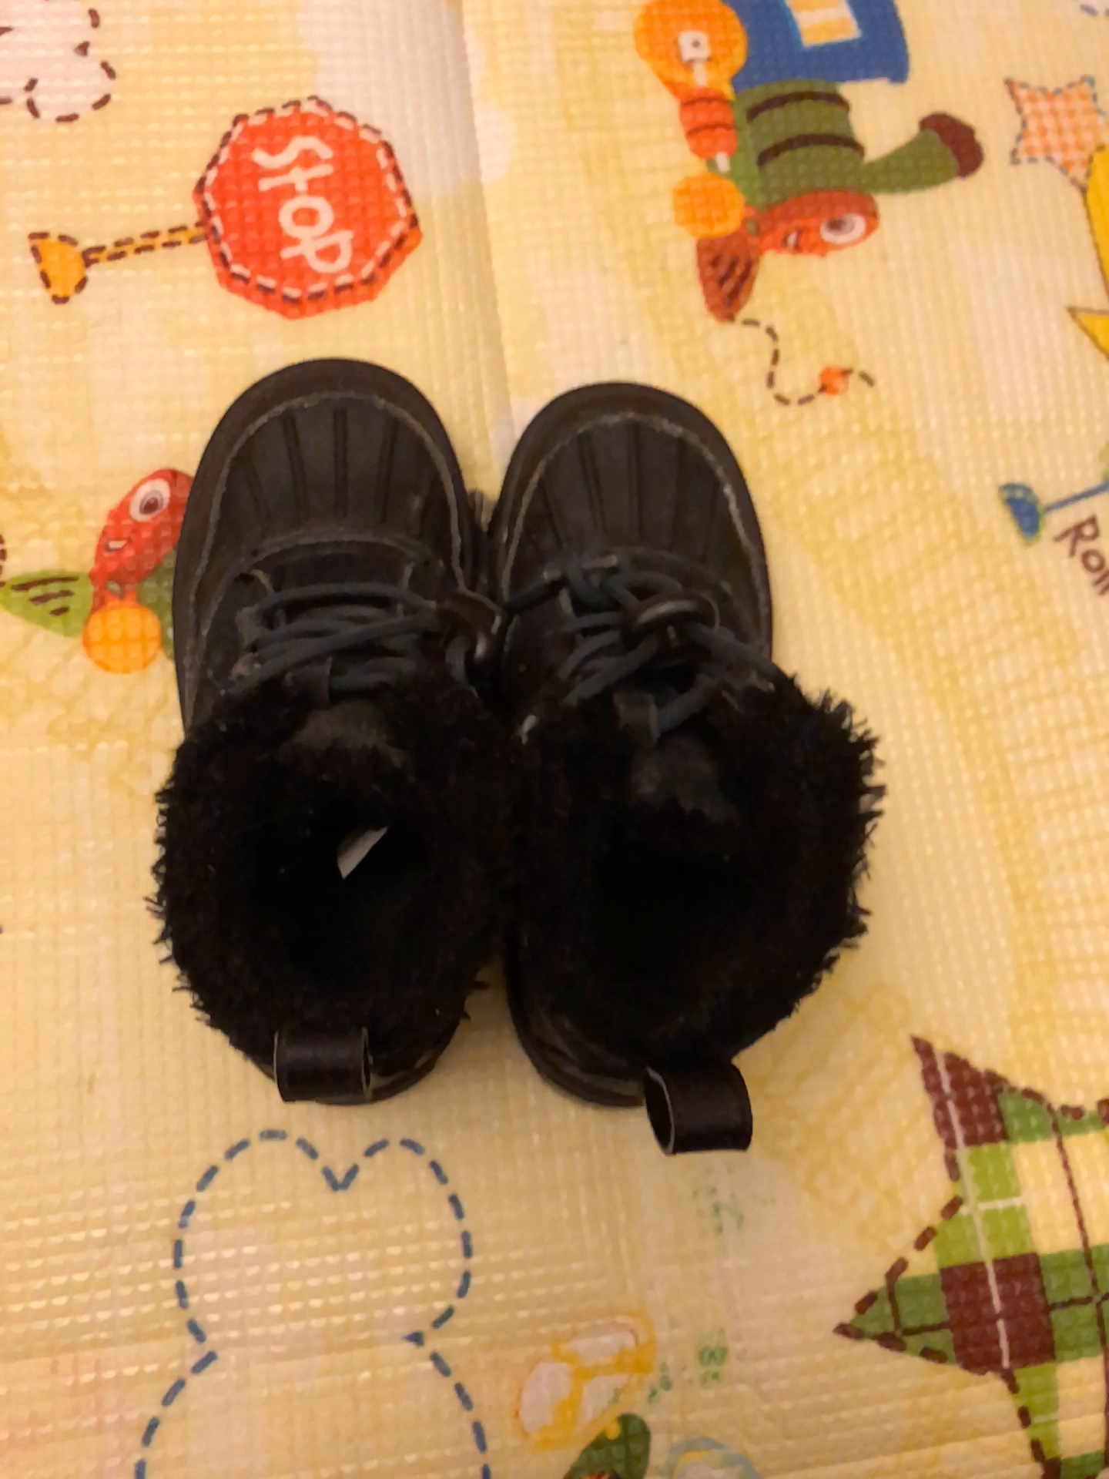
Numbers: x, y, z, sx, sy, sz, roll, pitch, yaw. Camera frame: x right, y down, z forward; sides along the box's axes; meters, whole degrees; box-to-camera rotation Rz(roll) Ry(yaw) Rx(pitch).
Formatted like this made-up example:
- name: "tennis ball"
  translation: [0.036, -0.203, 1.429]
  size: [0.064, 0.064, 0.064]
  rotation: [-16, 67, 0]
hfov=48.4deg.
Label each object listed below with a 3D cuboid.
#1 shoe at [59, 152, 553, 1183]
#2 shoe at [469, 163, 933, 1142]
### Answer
- name: "shoe"
  translation: [-0.056, -0.012, 0.308]
  size: [0.090, 0.120, 0.210]
  rotation: [-1, 79, -7]
- name: "shoe"
  translation: [0.030, -0.015, 0.327]
  size: [0.090, 0.110, 0.220]
  rotation: [3, 78, -7]
